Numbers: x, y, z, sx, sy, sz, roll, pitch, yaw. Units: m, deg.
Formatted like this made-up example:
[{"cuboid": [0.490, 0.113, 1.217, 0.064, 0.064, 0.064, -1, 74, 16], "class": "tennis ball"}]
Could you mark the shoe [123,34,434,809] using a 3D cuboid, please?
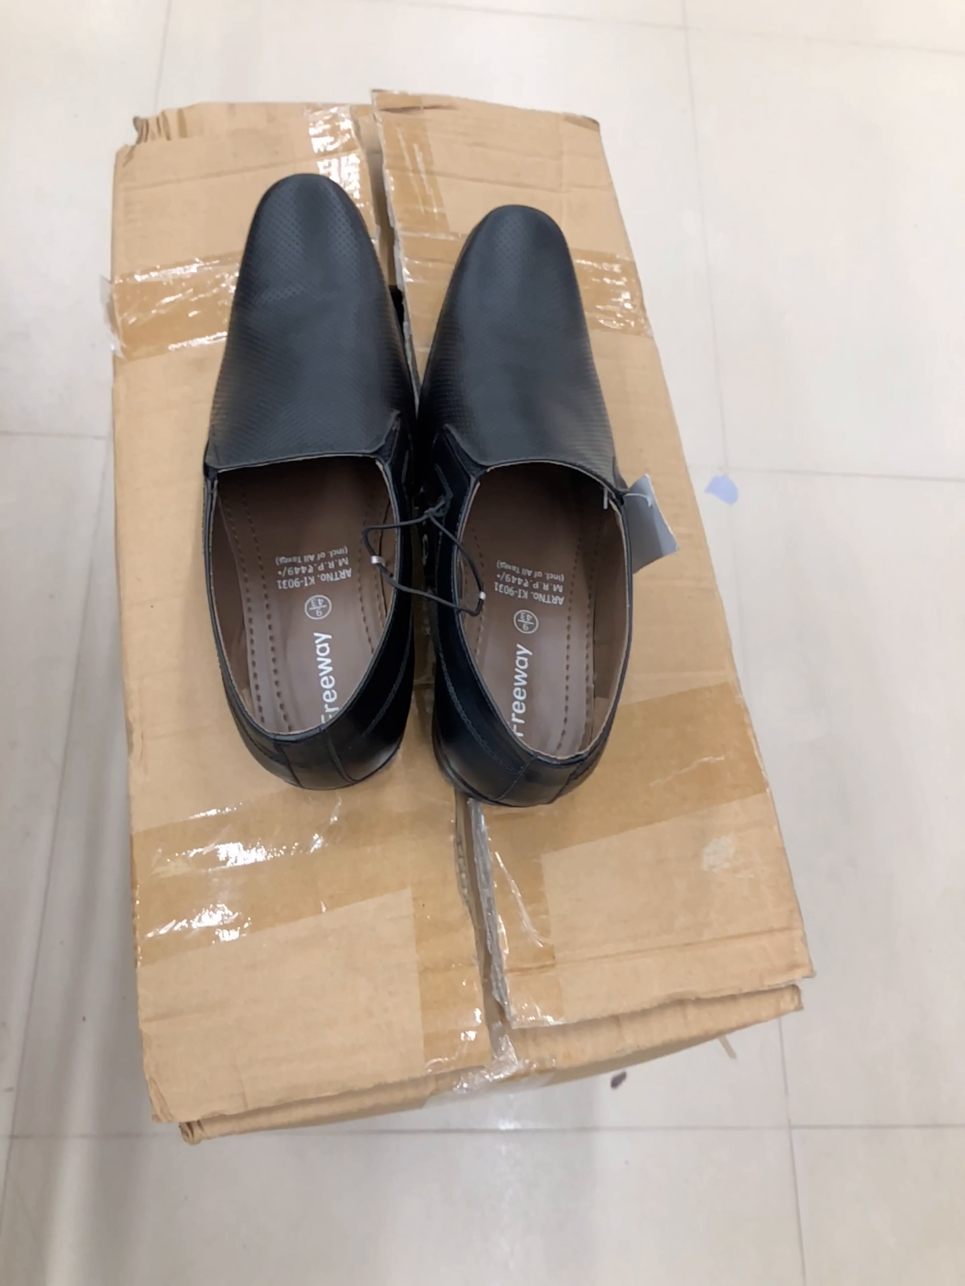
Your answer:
[{"cuboid": [-0.081, -0.100, 0.463, 0.100, 0.100, 0.321, -4, 70, -1], "class": "shoe"}]

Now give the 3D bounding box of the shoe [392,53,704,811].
[{"cuboid": [0.015, -0.094, 0.474, 0.100, 0.100, 0.321, 2, 69, -10], "class": "shoe"}]
